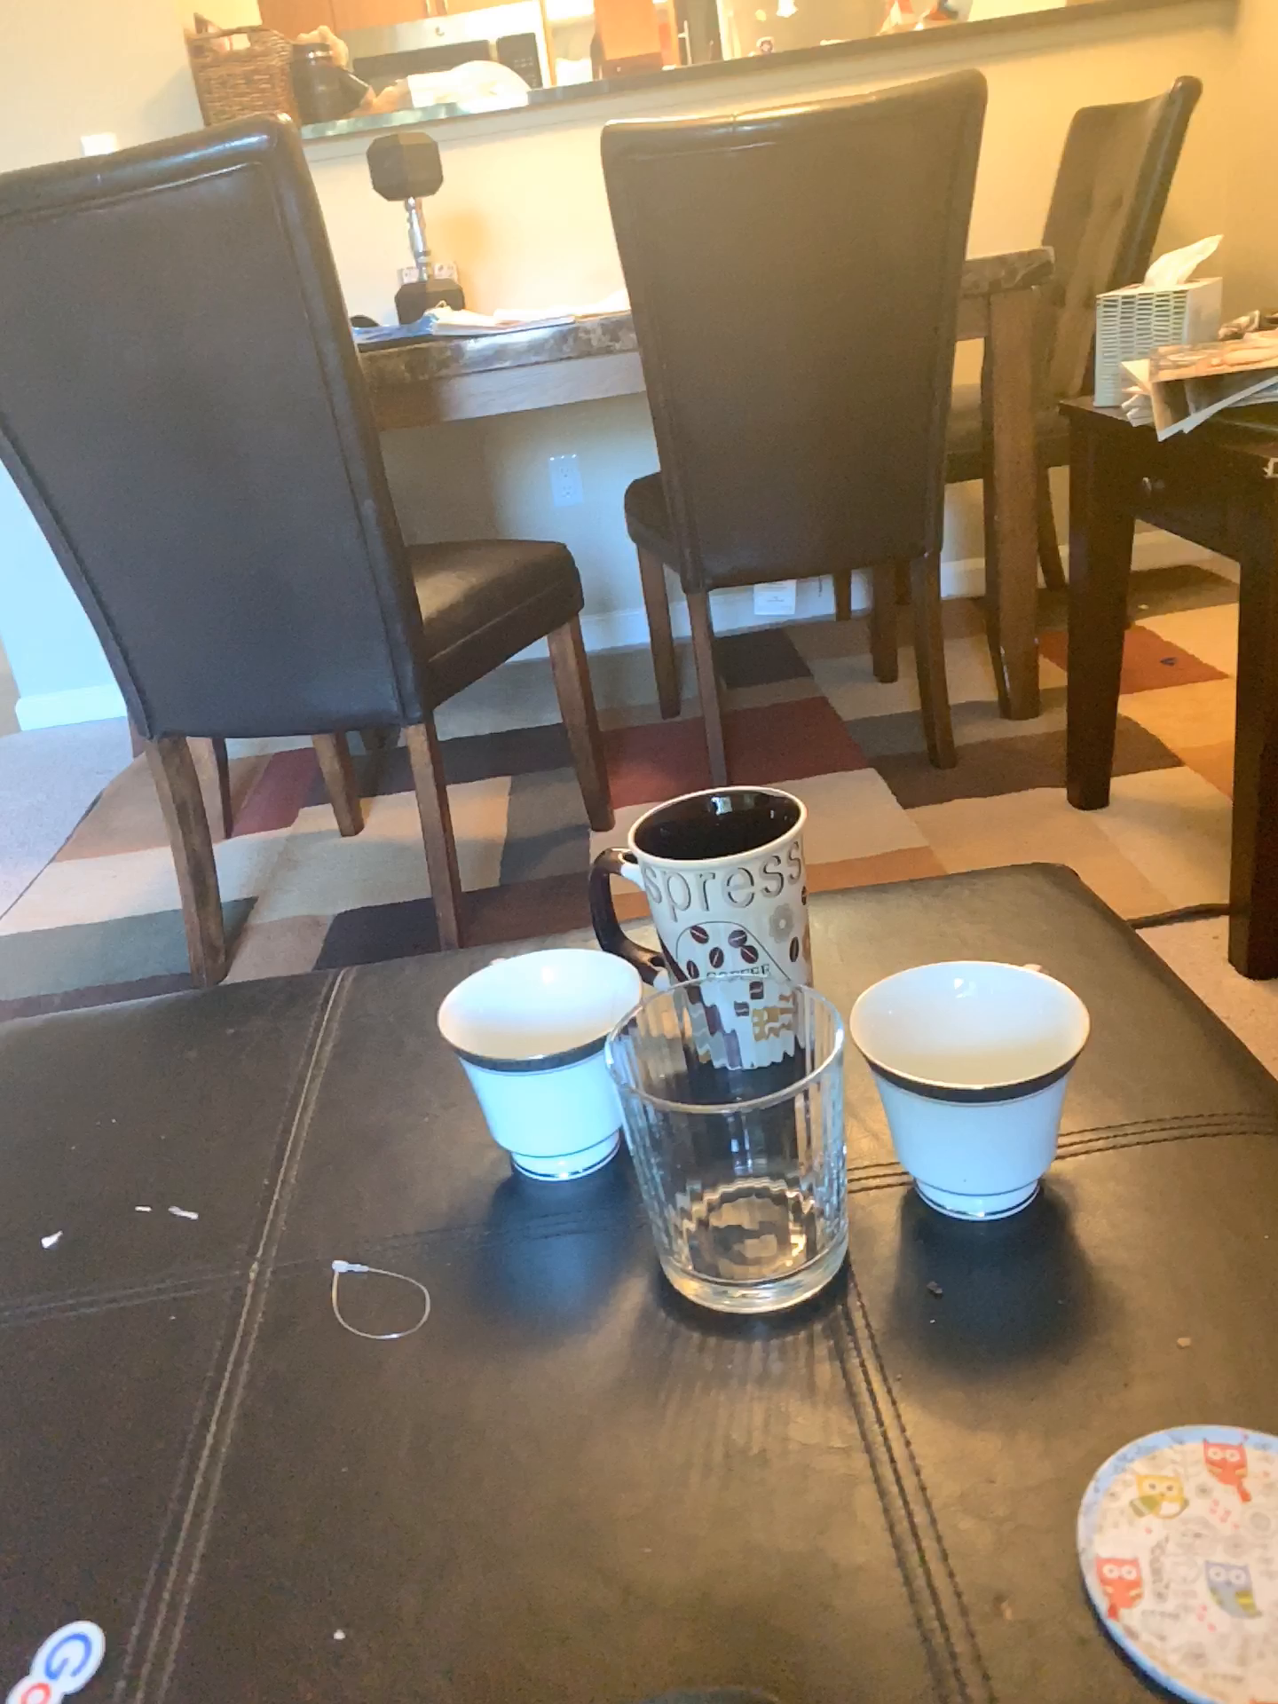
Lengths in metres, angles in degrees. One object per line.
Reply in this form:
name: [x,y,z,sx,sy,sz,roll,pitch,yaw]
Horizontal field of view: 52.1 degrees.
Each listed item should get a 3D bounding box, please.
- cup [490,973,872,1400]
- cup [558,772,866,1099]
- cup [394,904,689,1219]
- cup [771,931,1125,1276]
cup: [0.021,0.123,0.509,0.100,0.099,0.100,-7,24,3]
cup: [0.039,0.035,0.632,0.100,0.109,0.100,-7,24,3]
cup: [-0.046,0.087,0.581,0.090,0.070,0.111,-17,25,-17]
cup: [0.128,0.093,0.525,0.100,0.060,0.120,8,29,32]
